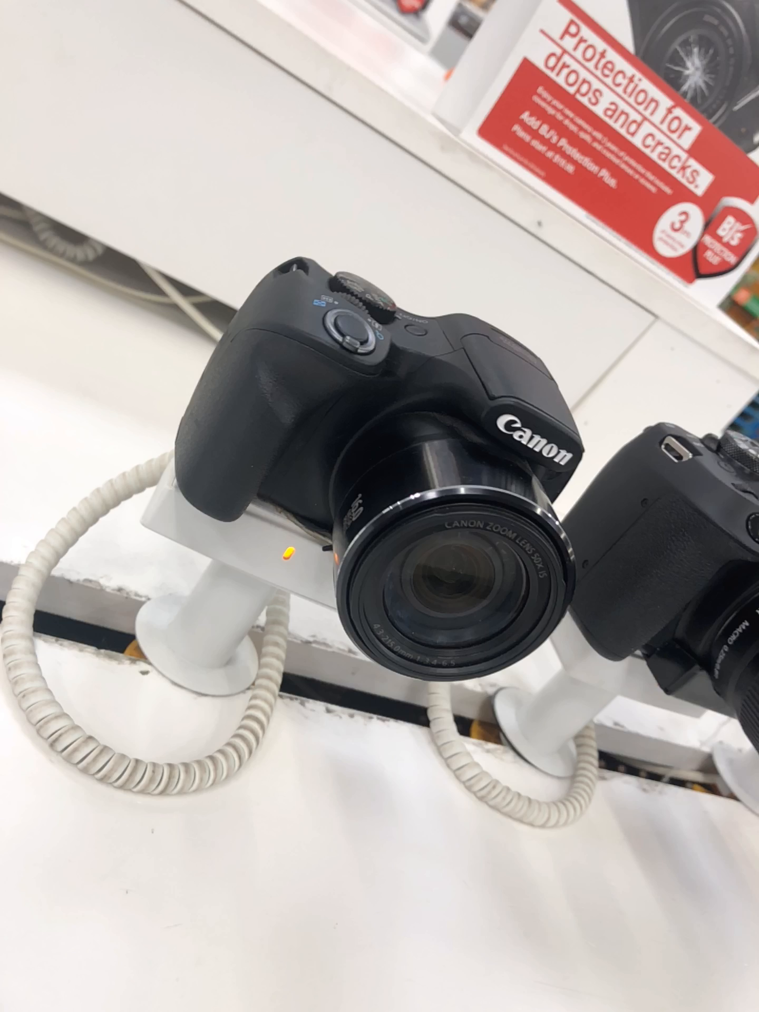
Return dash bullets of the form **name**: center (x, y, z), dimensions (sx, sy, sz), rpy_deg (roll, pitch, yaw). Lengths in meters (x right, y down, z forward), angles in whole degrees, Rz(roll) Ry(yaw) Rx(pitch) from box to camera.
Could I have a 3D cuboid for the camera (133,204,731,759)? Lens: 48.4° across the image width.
- **camera**: center (0.011, -0.004, 0.243), dimensions (0.120, 0.089, 0.080), rpy_deg (27, 27, -22)
